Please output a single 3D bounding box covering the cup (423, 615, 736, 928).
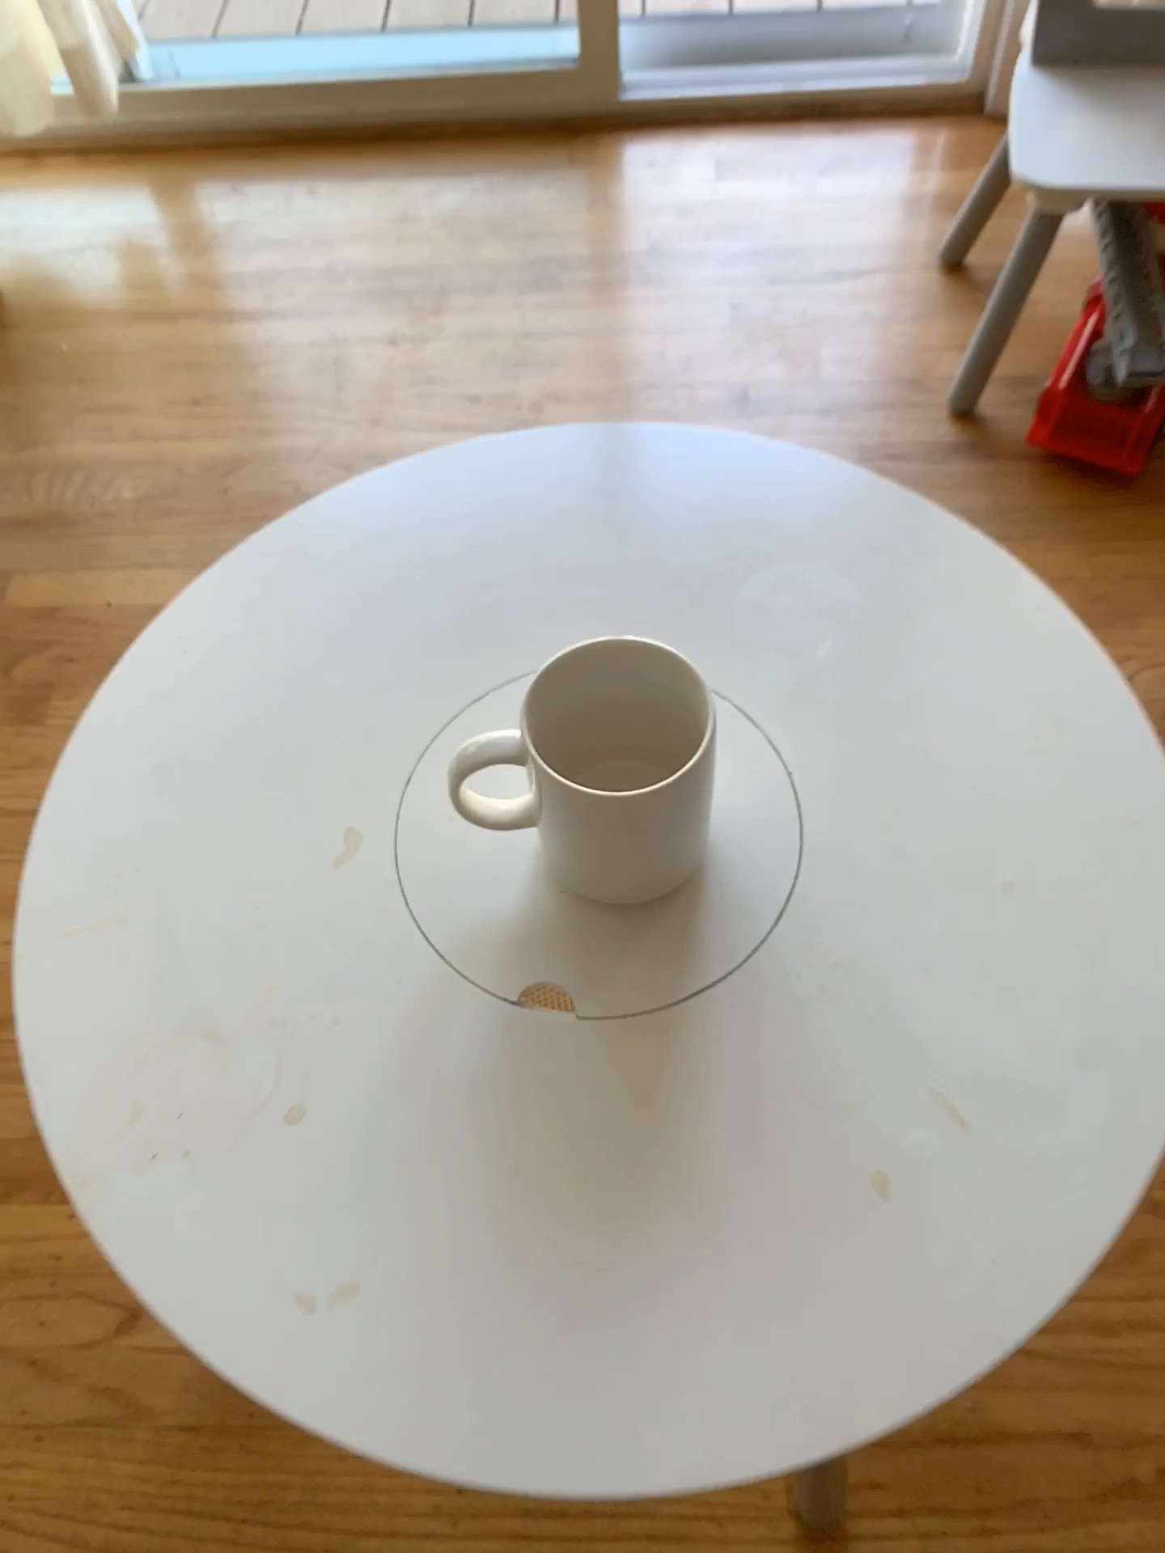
[{"bbox_3d":[-0.001,-0.001,0.568,0.130,0.090,0.110,-3,58,2],"label":"cup"}]
